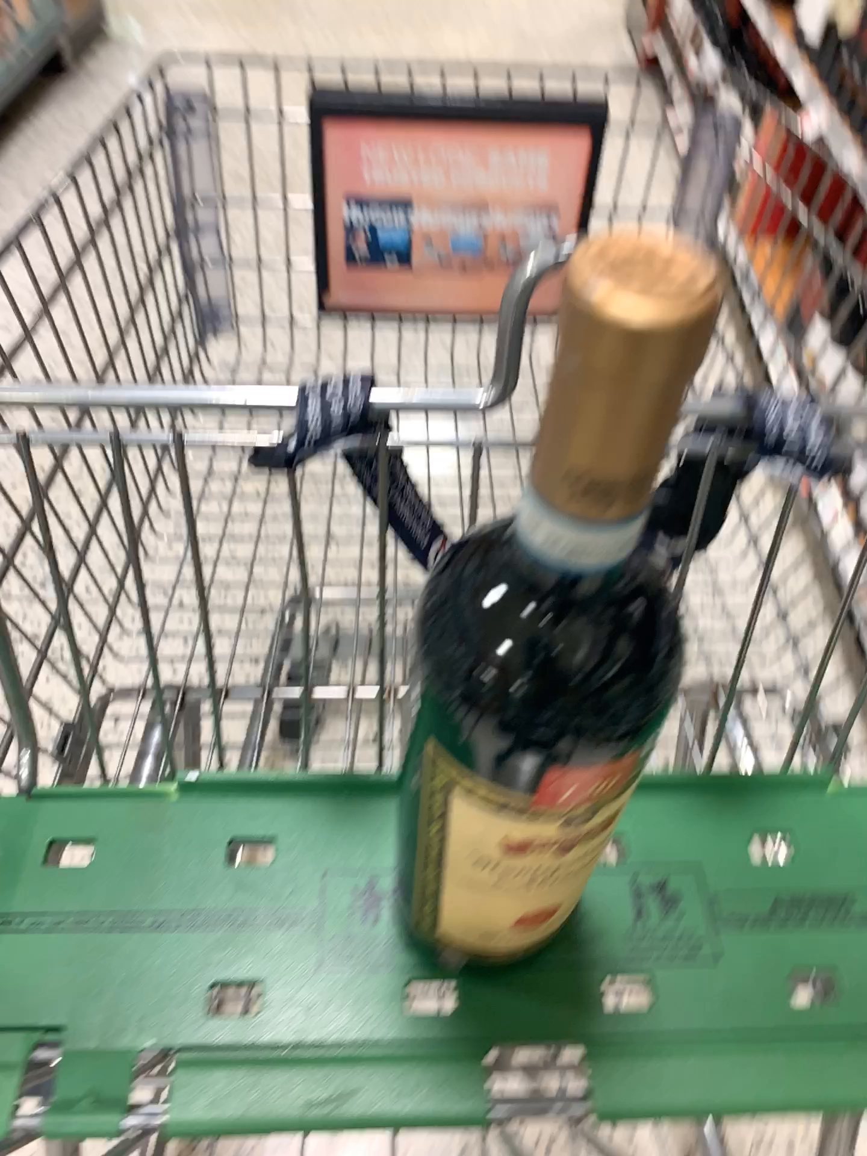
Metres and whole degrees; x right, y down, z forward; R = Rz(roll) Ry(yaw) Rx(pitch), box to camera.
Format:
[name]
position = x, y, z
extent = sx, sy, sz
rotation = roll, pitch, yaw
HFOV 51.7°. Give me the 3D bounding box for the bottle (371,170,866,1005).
[bottle]
position = 0.029, 0.035, 0.272
extent = 0.080, 0.277, 0.081
rotation = 2, 48, -2
